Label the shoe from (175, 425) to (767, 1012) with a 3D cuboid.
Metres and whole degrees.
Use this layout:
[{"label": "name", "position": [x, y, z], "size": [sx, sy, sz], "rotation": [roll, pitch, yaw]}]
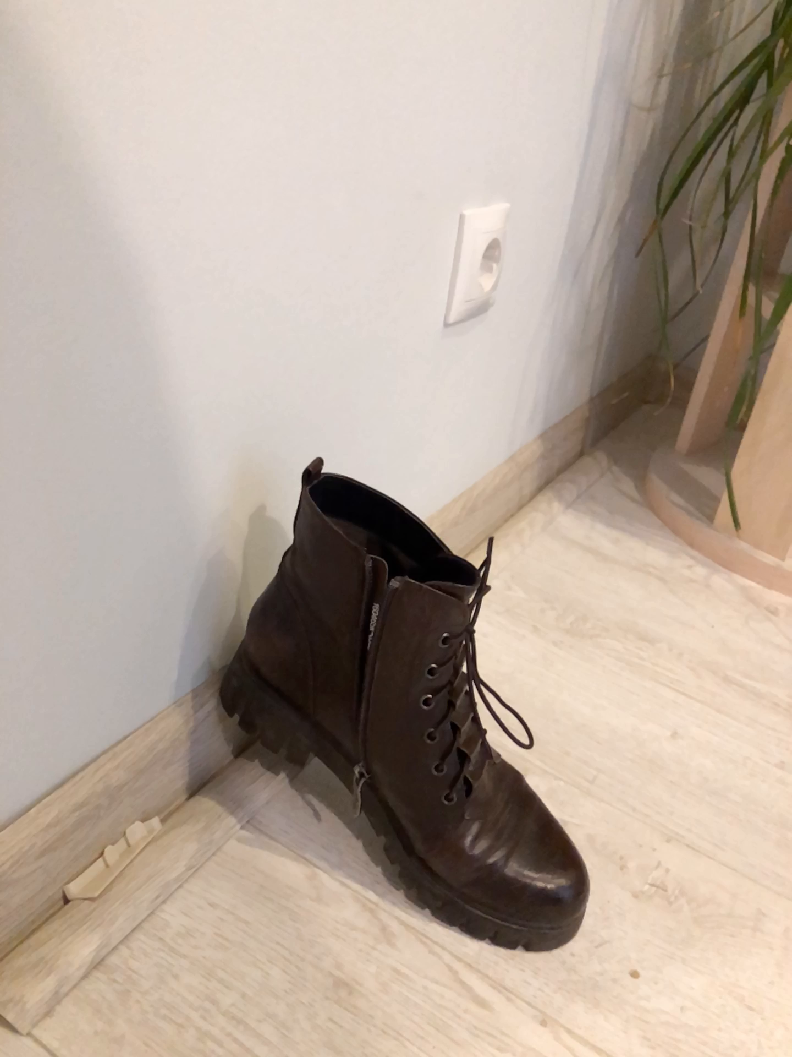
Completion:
[{"label": "shoe", "position": [0.028, 0.101, 0.483], "size": [0.260, 0.179, 0.101], "rotation": [37, 38, 11]}]
